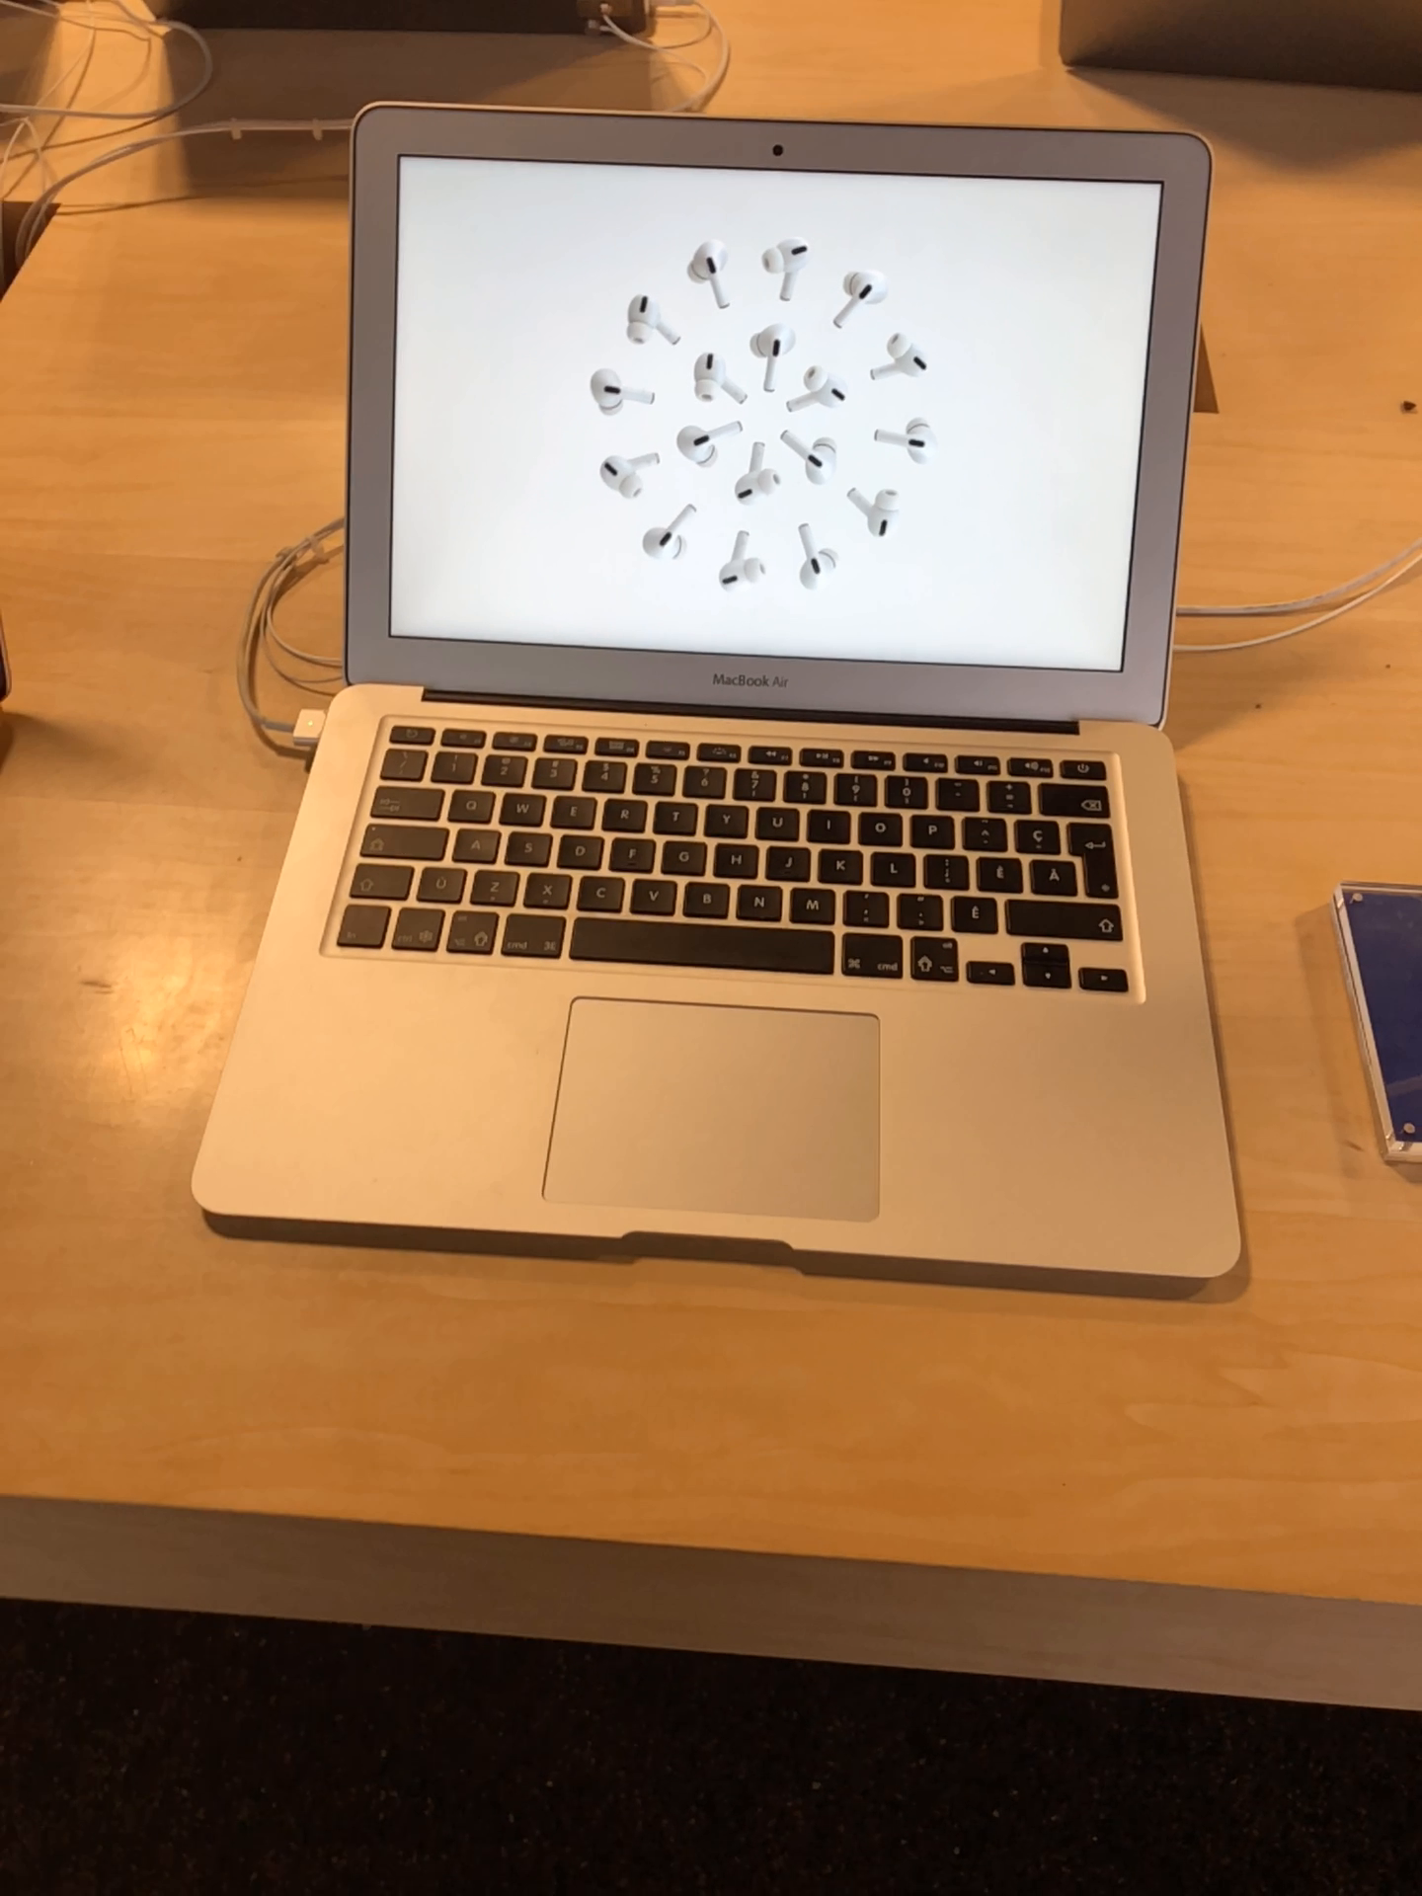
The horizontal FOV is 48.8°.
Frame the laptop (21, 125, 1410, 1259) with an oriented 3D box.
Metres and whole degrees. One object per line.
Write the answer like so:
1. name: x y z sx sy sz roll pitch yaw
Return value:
1. laptop: 0.012 -0.107 0.524 0.311 0.151 0.372 3 52 2
